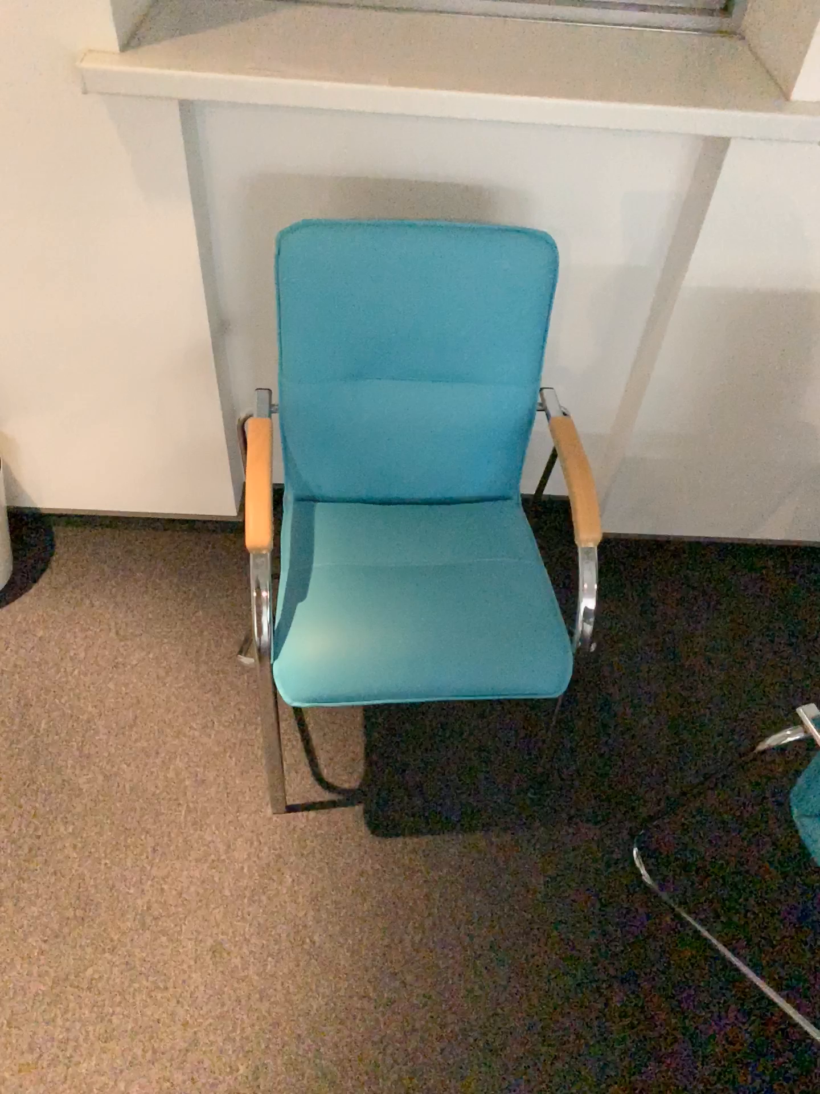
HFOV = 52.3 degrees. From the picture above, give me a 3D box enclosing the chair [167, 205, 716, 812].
[{"bbox_3d":[-0.006,-0.033,1.479,0.630,0.856,0.633,-1,49,-6],"label":"chair"}]
